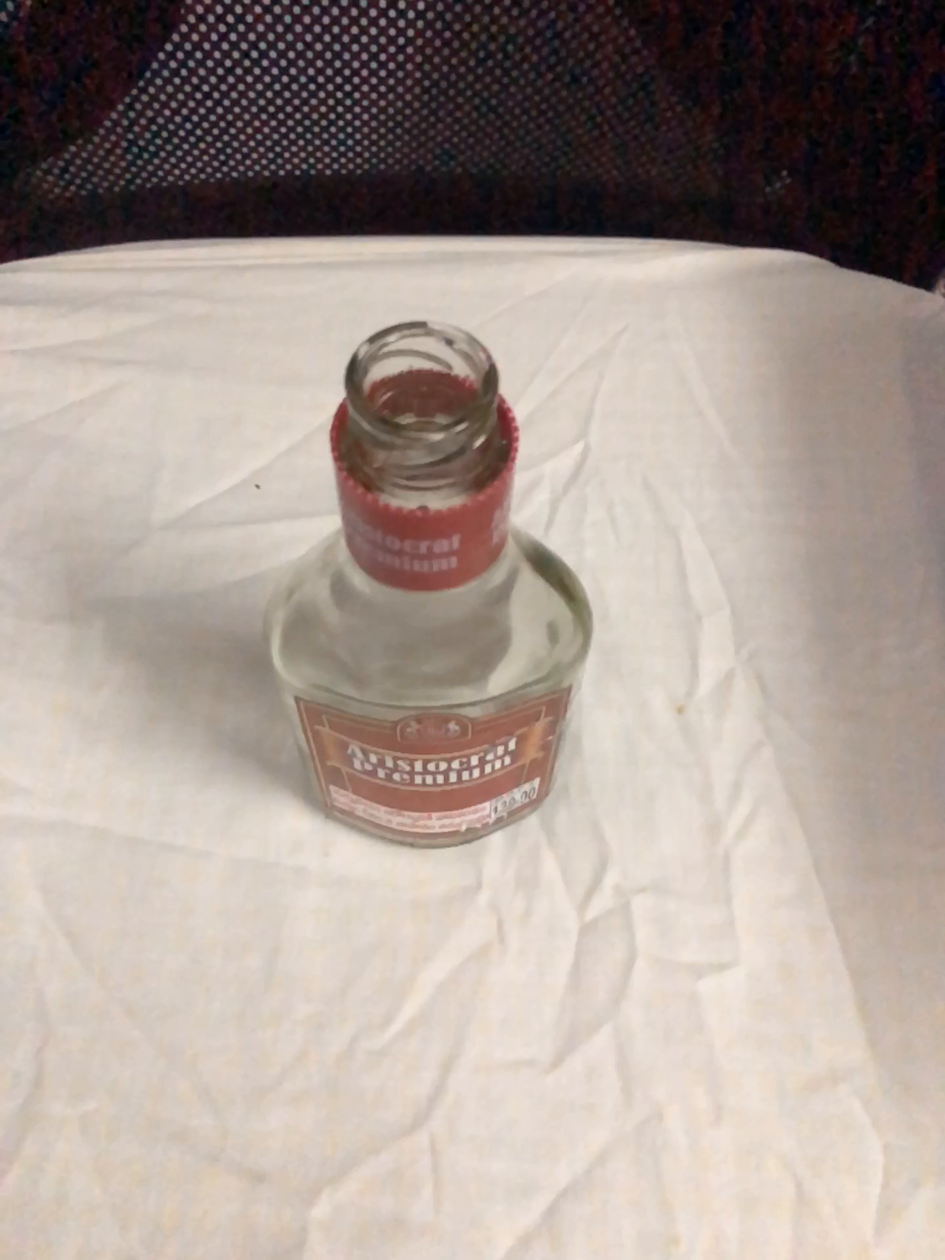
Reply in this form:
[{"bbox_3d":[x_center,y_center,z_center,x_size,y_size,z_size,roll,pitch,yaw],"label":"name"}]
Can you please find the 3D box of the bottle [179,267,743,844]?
[{"bbox_3d":[-0.007,0.002,0.237,0.080,0.180,0.040,-2,62,-4],"label":"bottle"}]
